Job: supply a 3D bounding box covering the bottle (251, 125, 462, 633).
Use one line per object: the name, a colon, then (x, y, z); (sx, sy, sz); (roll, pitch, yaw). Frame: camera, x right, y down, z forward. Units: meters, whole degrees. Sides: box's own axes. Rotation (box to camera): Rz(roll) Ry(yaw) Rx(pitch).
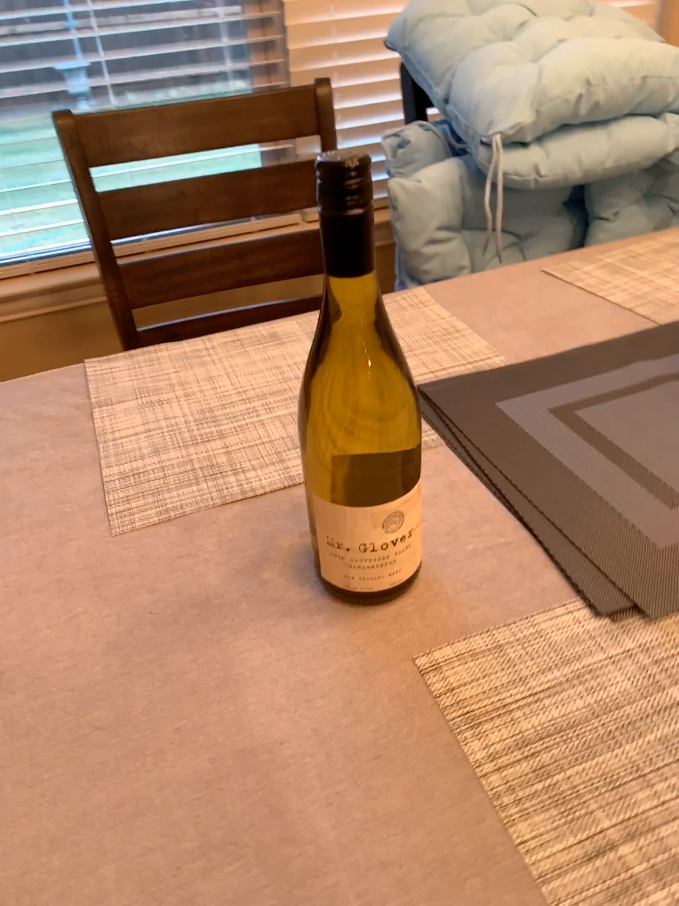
bottle: (0.013, -0.030, 0.436); (0.090, 0.298, 0.090); (-3, 36, 2)
